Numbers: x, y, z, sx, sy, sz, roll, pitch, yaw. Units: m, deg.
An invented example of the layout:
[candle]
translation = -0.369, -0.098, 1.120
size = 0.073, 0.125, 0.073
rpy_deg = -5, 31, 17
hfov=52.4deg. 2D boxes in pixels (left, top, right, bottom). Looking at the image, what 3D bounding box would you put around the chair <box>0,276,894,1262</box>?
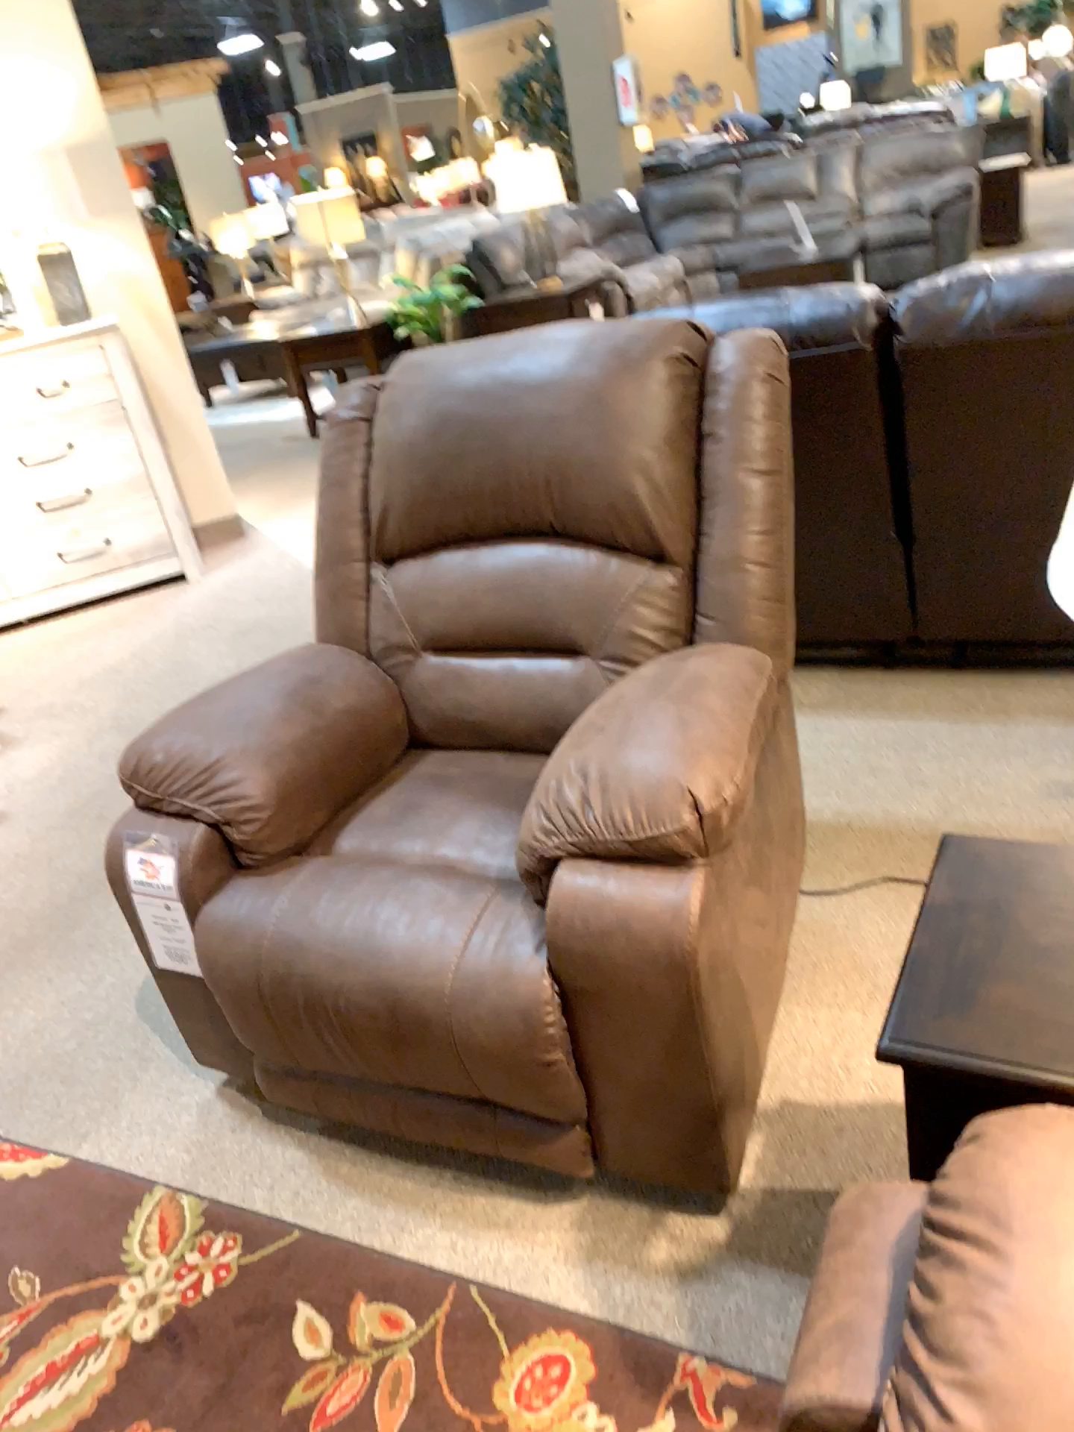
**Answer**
[chair]
translation = -0.044, -0.030, 1.830
size = 1.003, 1.027, 1.067
rpy_deg = 3, 30, 28
